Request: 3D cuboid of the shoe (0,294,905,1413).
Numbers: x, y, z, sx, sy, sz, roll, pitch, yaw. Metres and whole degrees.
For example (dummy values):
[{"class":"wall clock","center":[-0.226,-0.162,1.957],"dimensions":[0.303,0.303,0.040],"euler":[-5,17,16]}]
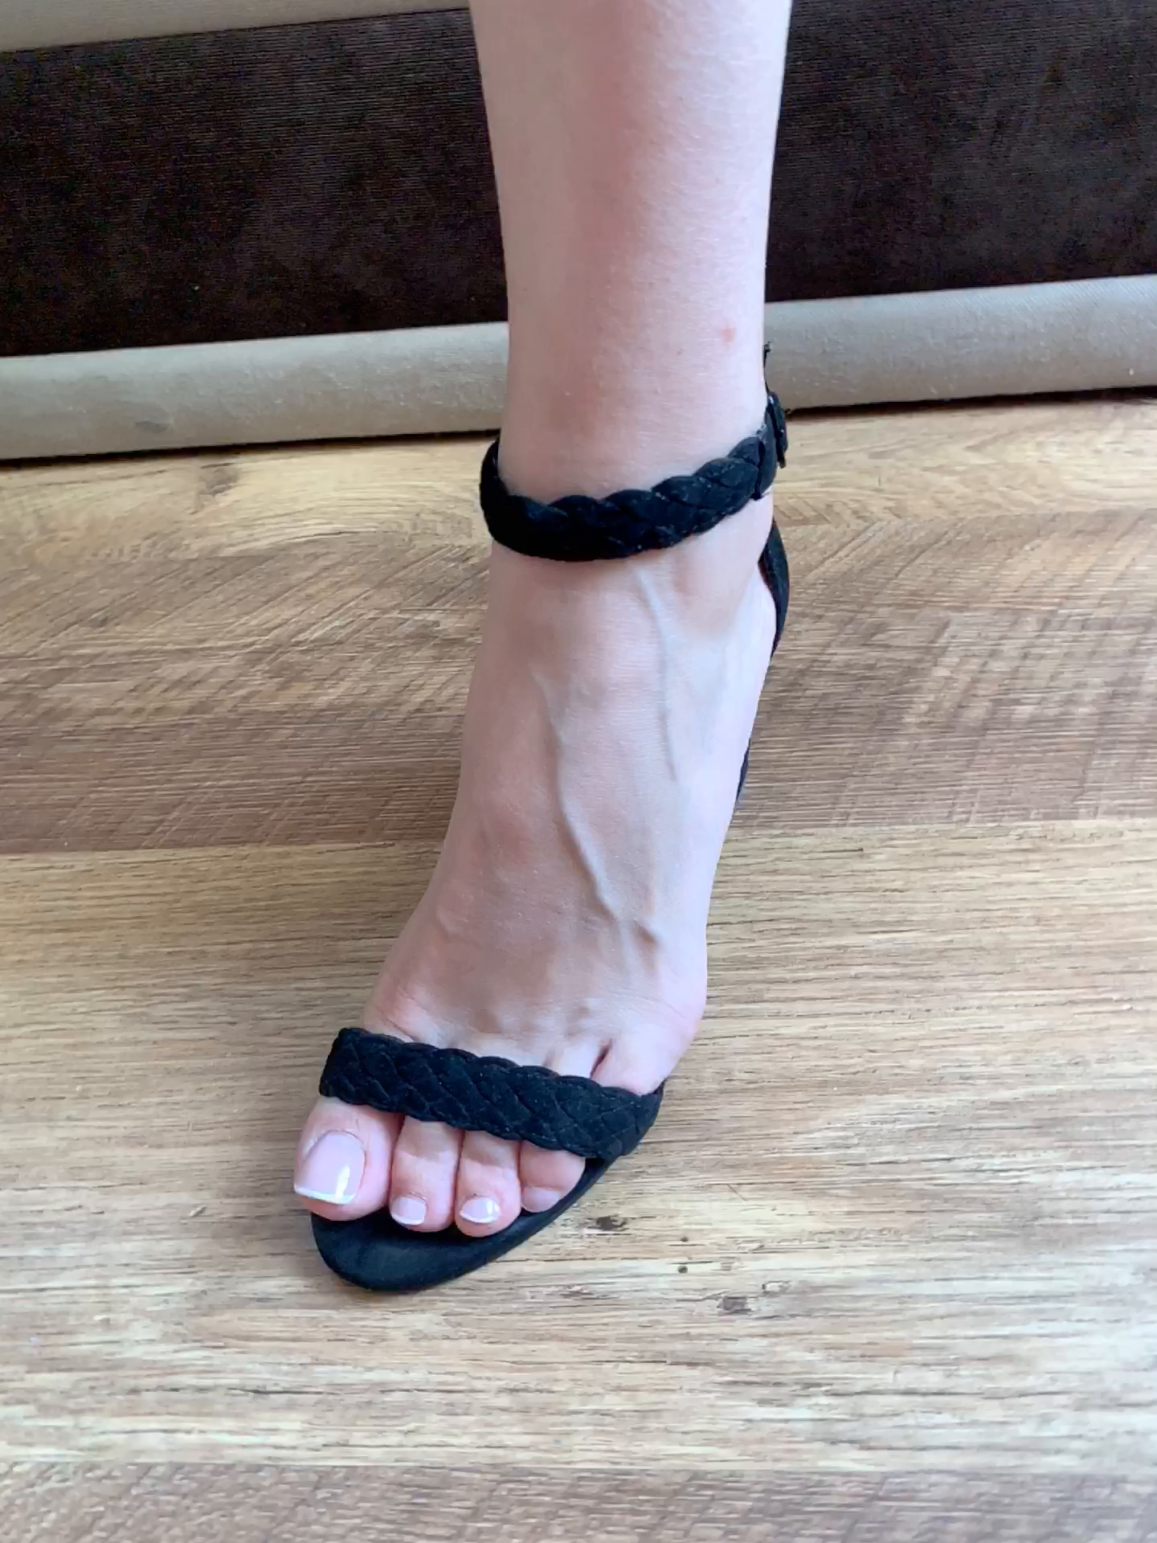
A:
[{"class":"shoe","center":[-0.003,0.001,0.301],"dimensions":[0.090,0.149,0.231],"euler":[16,46,24]}]
